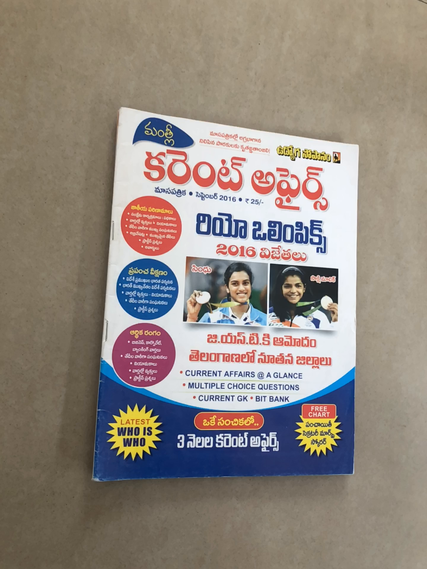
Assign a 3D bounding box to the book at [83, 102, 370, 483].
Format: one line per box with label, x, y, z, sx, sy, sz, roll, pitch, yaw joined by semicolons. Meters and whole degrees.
book;0.020;0.008;0.346;0.200;0.010;0.260;5;83;-13
